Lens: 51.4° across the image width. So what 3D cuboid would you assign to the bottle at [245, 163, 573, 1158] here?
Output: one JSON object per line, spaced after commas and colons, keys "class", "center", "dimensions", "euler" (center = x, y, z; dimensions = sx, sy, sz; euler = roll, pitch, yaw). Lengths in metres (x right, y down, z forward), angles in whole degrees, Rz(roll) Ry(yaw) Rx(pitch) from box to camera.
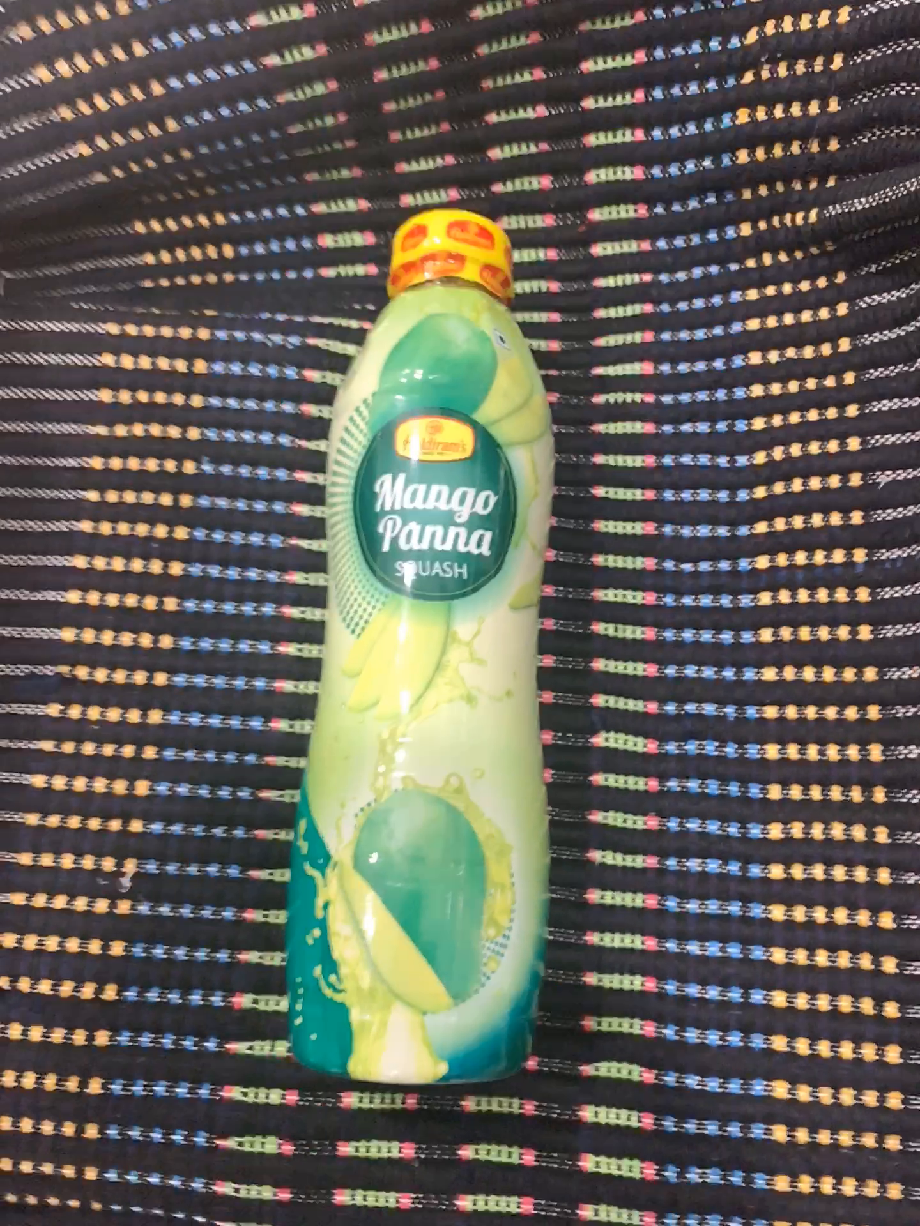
{"class": "bottle", "center": [-0.008, 0.000, 0.280], "dimensions": [0.070, 0.050, 0.270], "euler": [4, 73, -2]}
